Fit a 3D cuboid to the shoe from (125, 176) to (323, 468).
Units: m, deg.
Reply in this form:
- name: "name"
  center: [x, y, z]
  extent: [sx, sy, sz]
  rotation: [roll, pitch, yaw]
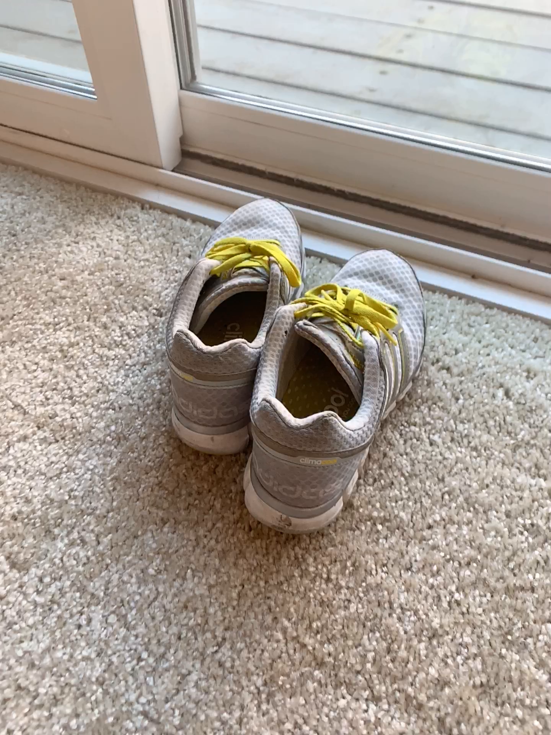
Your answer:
- name: "shoe"
  center: [-0.029, -0.051, 0.450]
  extent: [0.090, 0.100, 0.231]
  rotation: [13, 42, 3]

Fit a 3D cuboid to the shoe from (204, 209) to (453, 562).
- name: "shoe"
  center: [0.048, -0.006, 0.404]
  extent: [0.090, 0.100, 0.241]
  rotation: [21, 44, 10]
